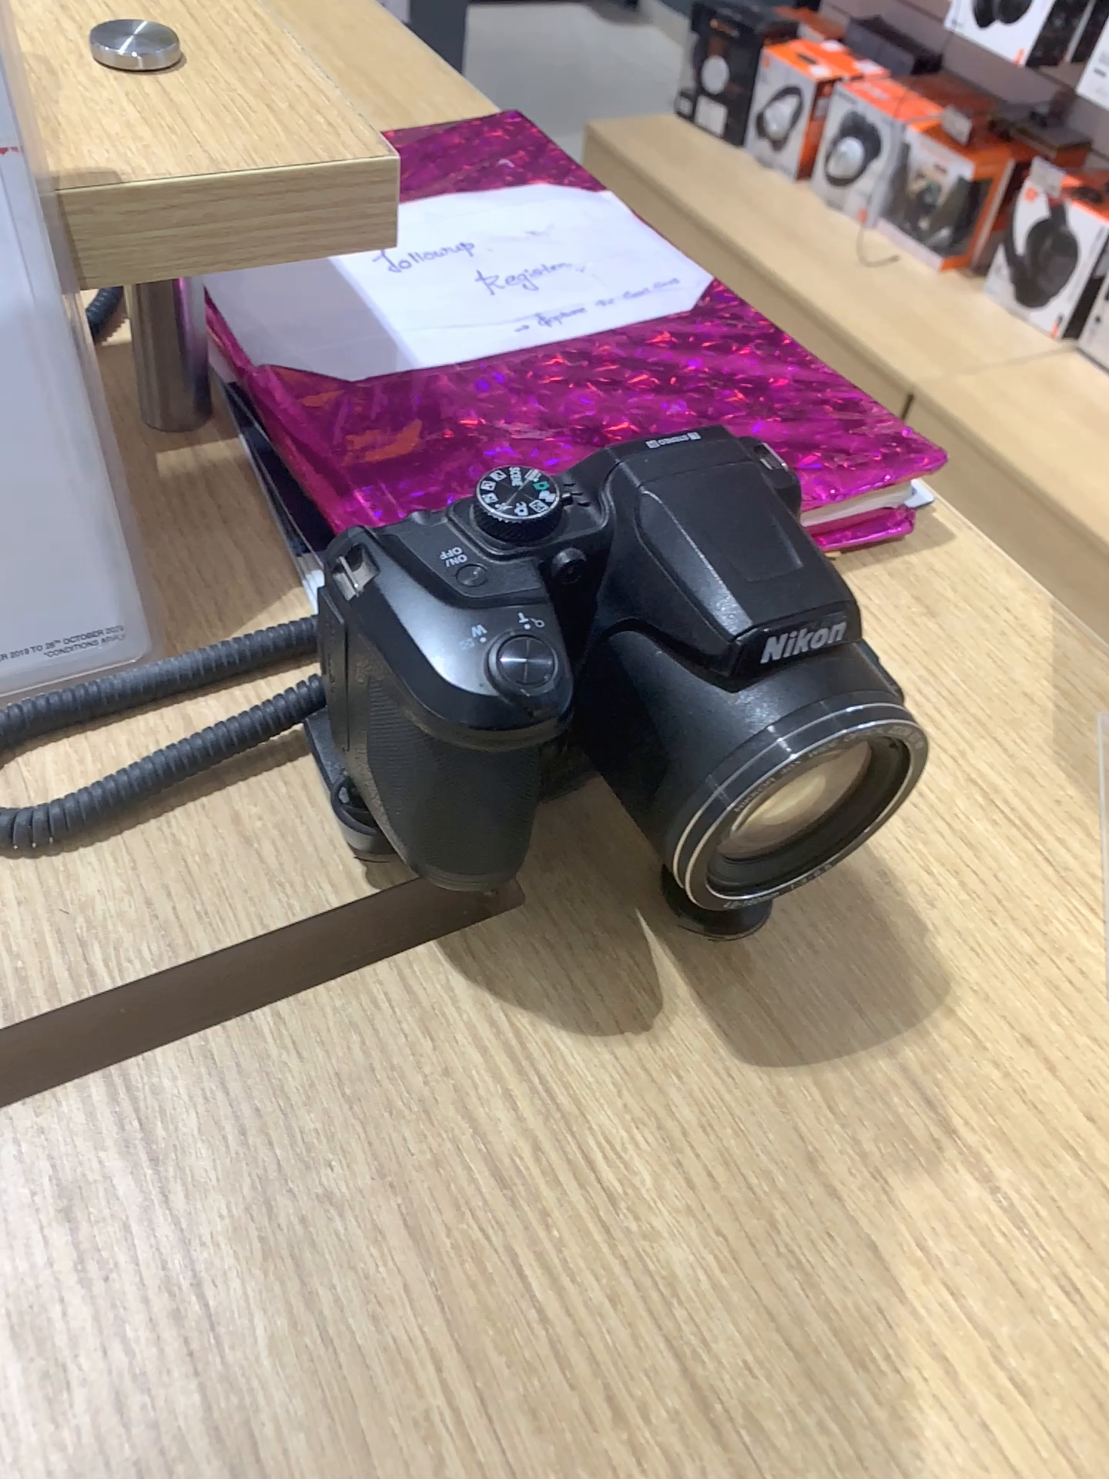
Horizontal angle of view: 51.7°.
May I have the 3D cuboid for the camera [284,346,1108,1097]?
[{"bbox_3d":[0.024,-0.010,0.240,0.130,0.090,0.090,-17,53,-23],"label":"camera"}]
